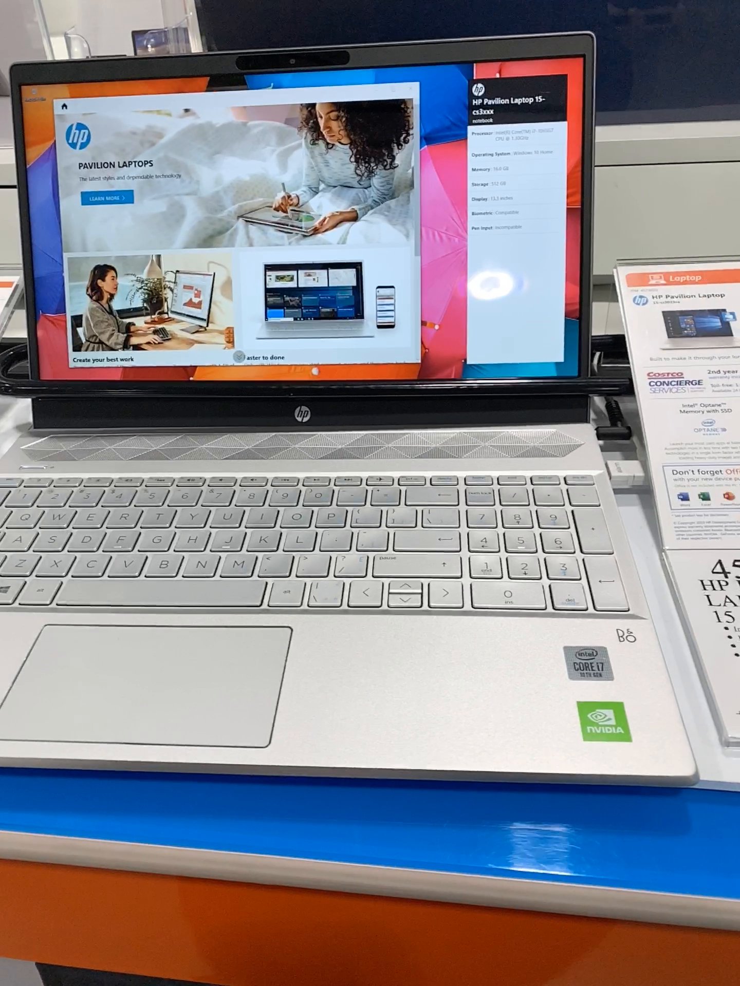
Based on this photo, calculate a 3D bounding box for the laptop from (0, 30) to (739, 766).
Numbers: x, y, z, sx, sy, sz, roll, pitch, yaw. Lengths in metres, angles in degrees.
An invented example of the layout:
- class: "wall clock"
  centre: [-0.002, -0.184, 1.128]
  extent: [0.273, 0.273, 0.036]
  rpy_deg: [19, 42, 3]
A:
- class: "laptop"
  centre: [-0.047, -0.078, 0.349]
  extent: [0.332, 0.175, 0.335]
  rpy_deg: [0, 37, 5]
